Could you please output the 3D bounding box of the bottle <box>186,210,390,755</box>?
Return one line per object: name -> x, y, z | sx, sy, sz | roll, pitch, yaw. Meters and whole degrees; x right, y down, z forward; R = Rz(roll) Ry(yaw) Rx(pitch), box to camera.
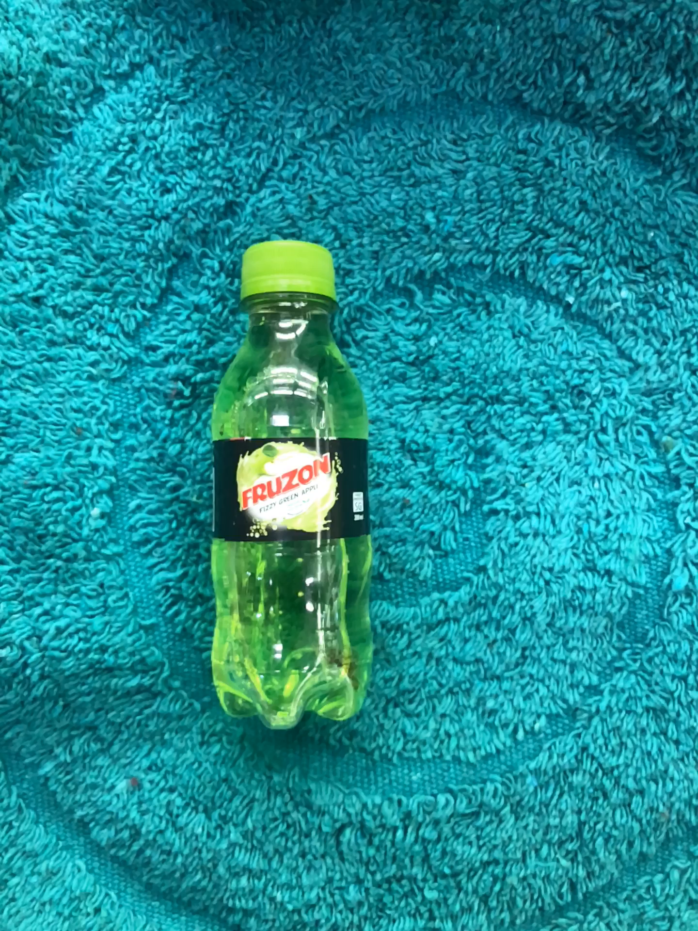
bottle -> -0.017, 0.005, 0.256 | 0.060, 0.050, 0.160 | 0, 91, 2
